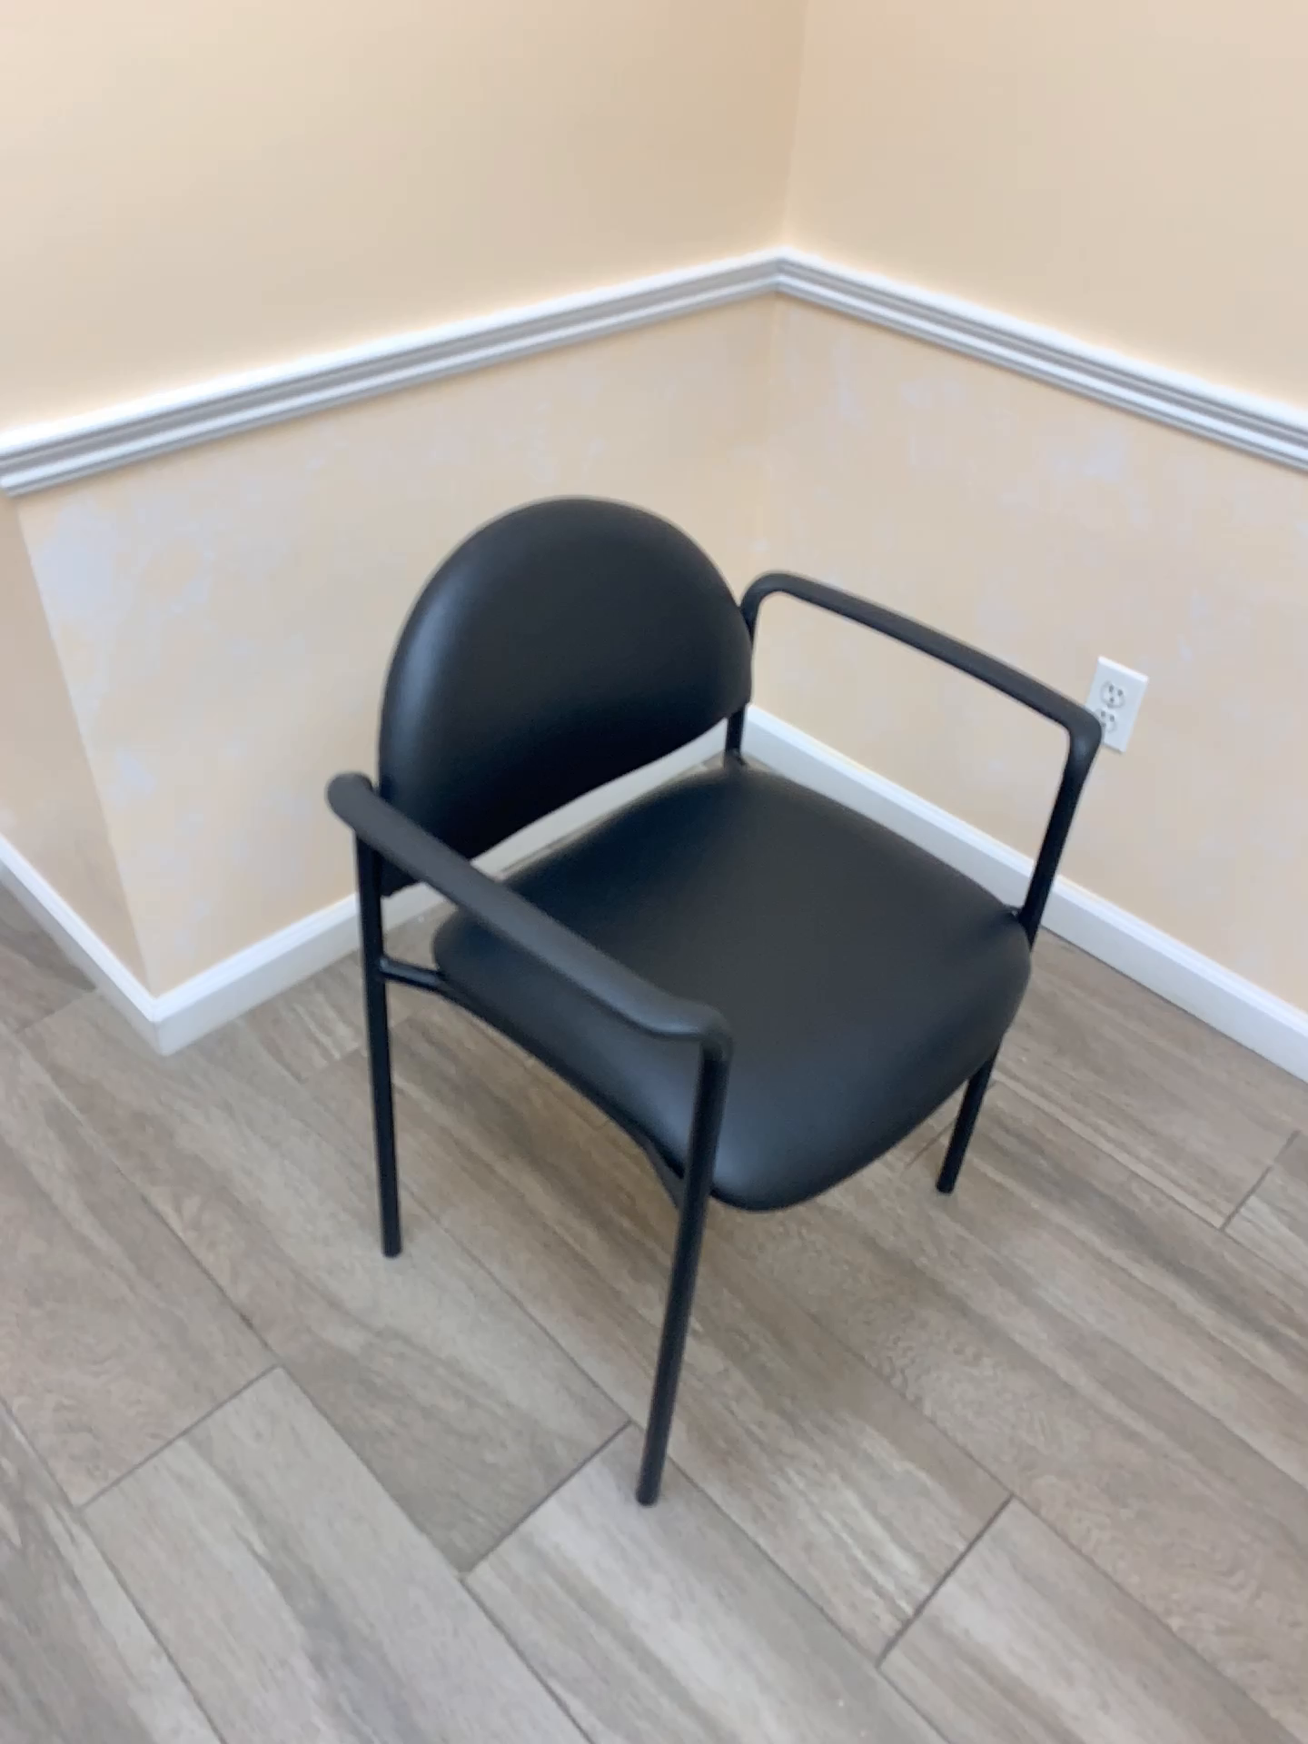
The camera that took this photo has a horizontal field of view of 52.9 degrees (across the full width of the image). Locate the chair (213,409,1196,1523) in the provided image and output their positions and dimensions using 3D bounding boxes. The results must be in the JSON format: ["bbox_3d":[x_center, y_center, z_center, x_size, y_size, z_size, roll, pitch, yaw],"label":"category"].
[{"bbox_3d":[0.033,0.062,1.257,0.511,0.726,0.584,33,48,30],"label":"chair"}]
